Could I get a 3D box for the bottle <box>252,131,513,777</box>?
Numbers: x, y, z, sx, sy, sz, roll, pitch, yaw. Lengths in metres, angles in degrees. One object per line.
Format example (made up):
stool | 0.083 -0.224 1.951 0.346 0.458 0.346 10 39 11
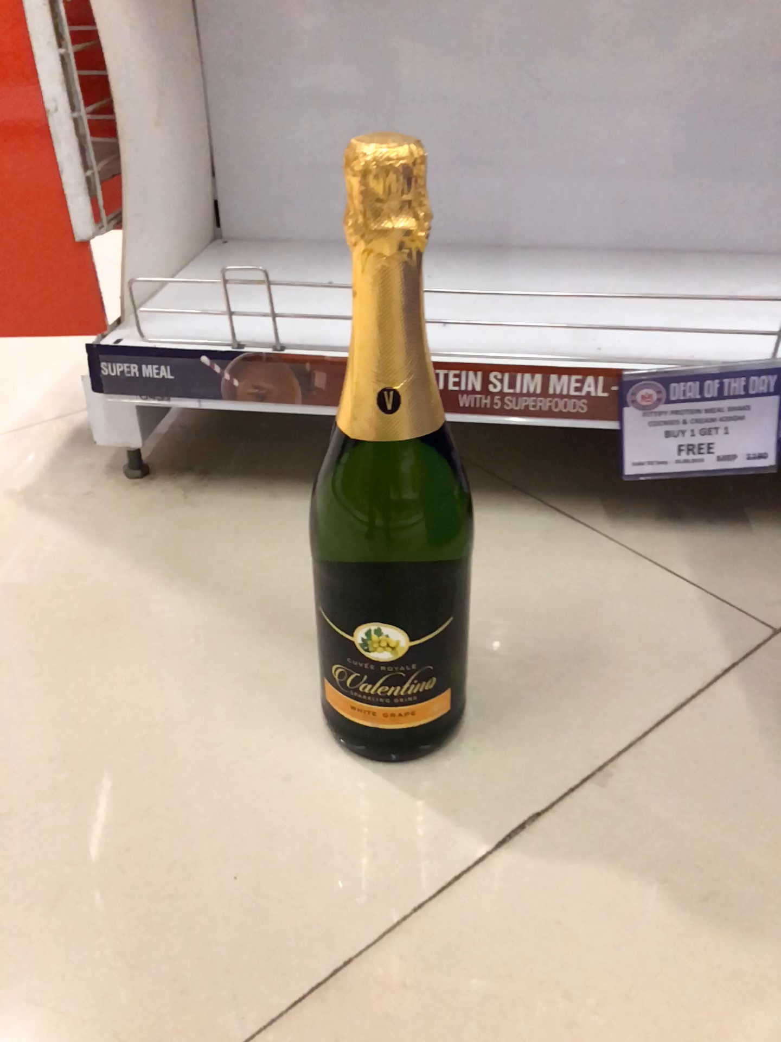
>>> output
bottle | 0.002 -0.017 0.413 0.090 0.298 0.091 0 33 0
